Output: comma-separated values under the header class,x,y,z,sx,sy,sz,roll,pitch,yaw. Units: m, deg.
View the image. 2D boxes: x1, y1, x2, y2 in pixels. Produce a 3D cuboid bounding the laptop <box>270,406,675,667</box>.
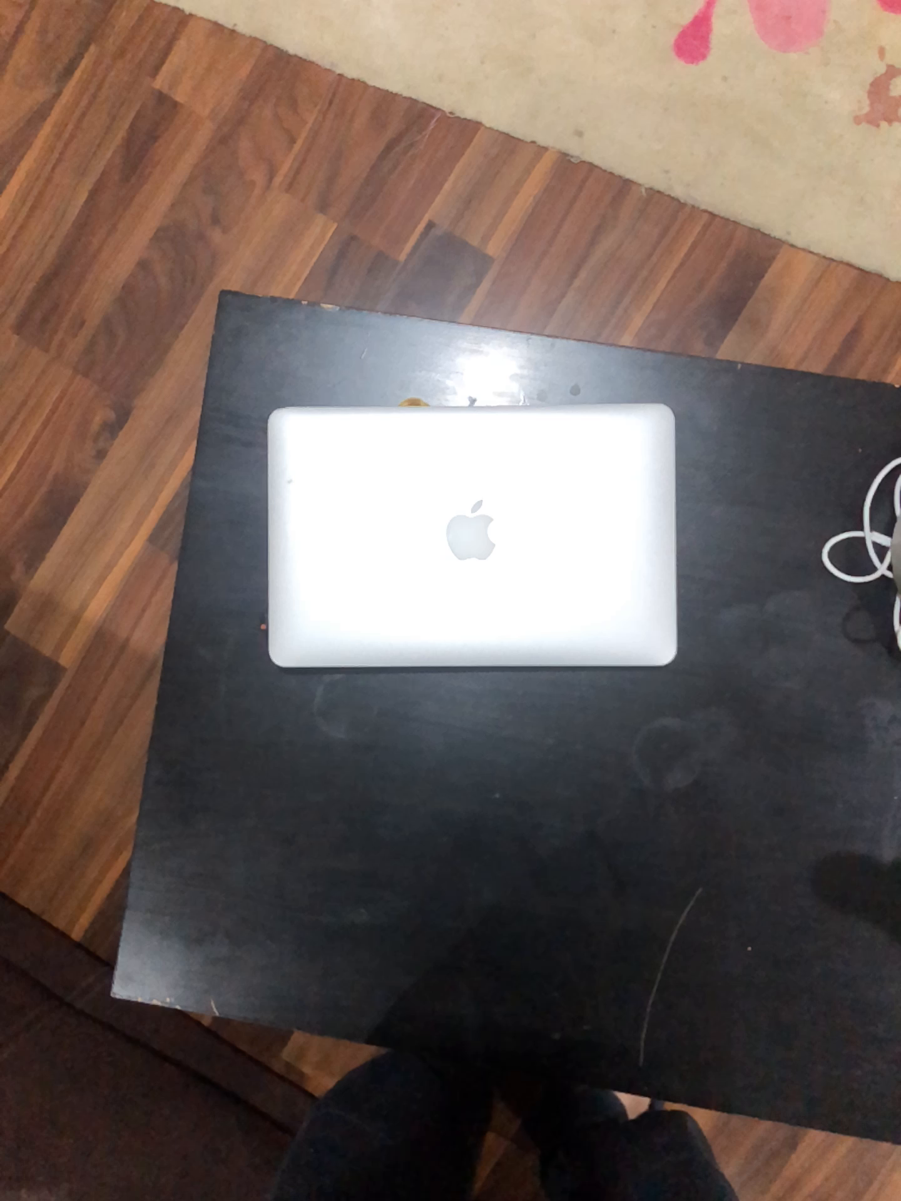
class,x,y,z,sx,sy,sz,roll,pitch,yaw
laptop,0.016,-0.047,0.748,0.300,0.011,0.190,-1,94,0
